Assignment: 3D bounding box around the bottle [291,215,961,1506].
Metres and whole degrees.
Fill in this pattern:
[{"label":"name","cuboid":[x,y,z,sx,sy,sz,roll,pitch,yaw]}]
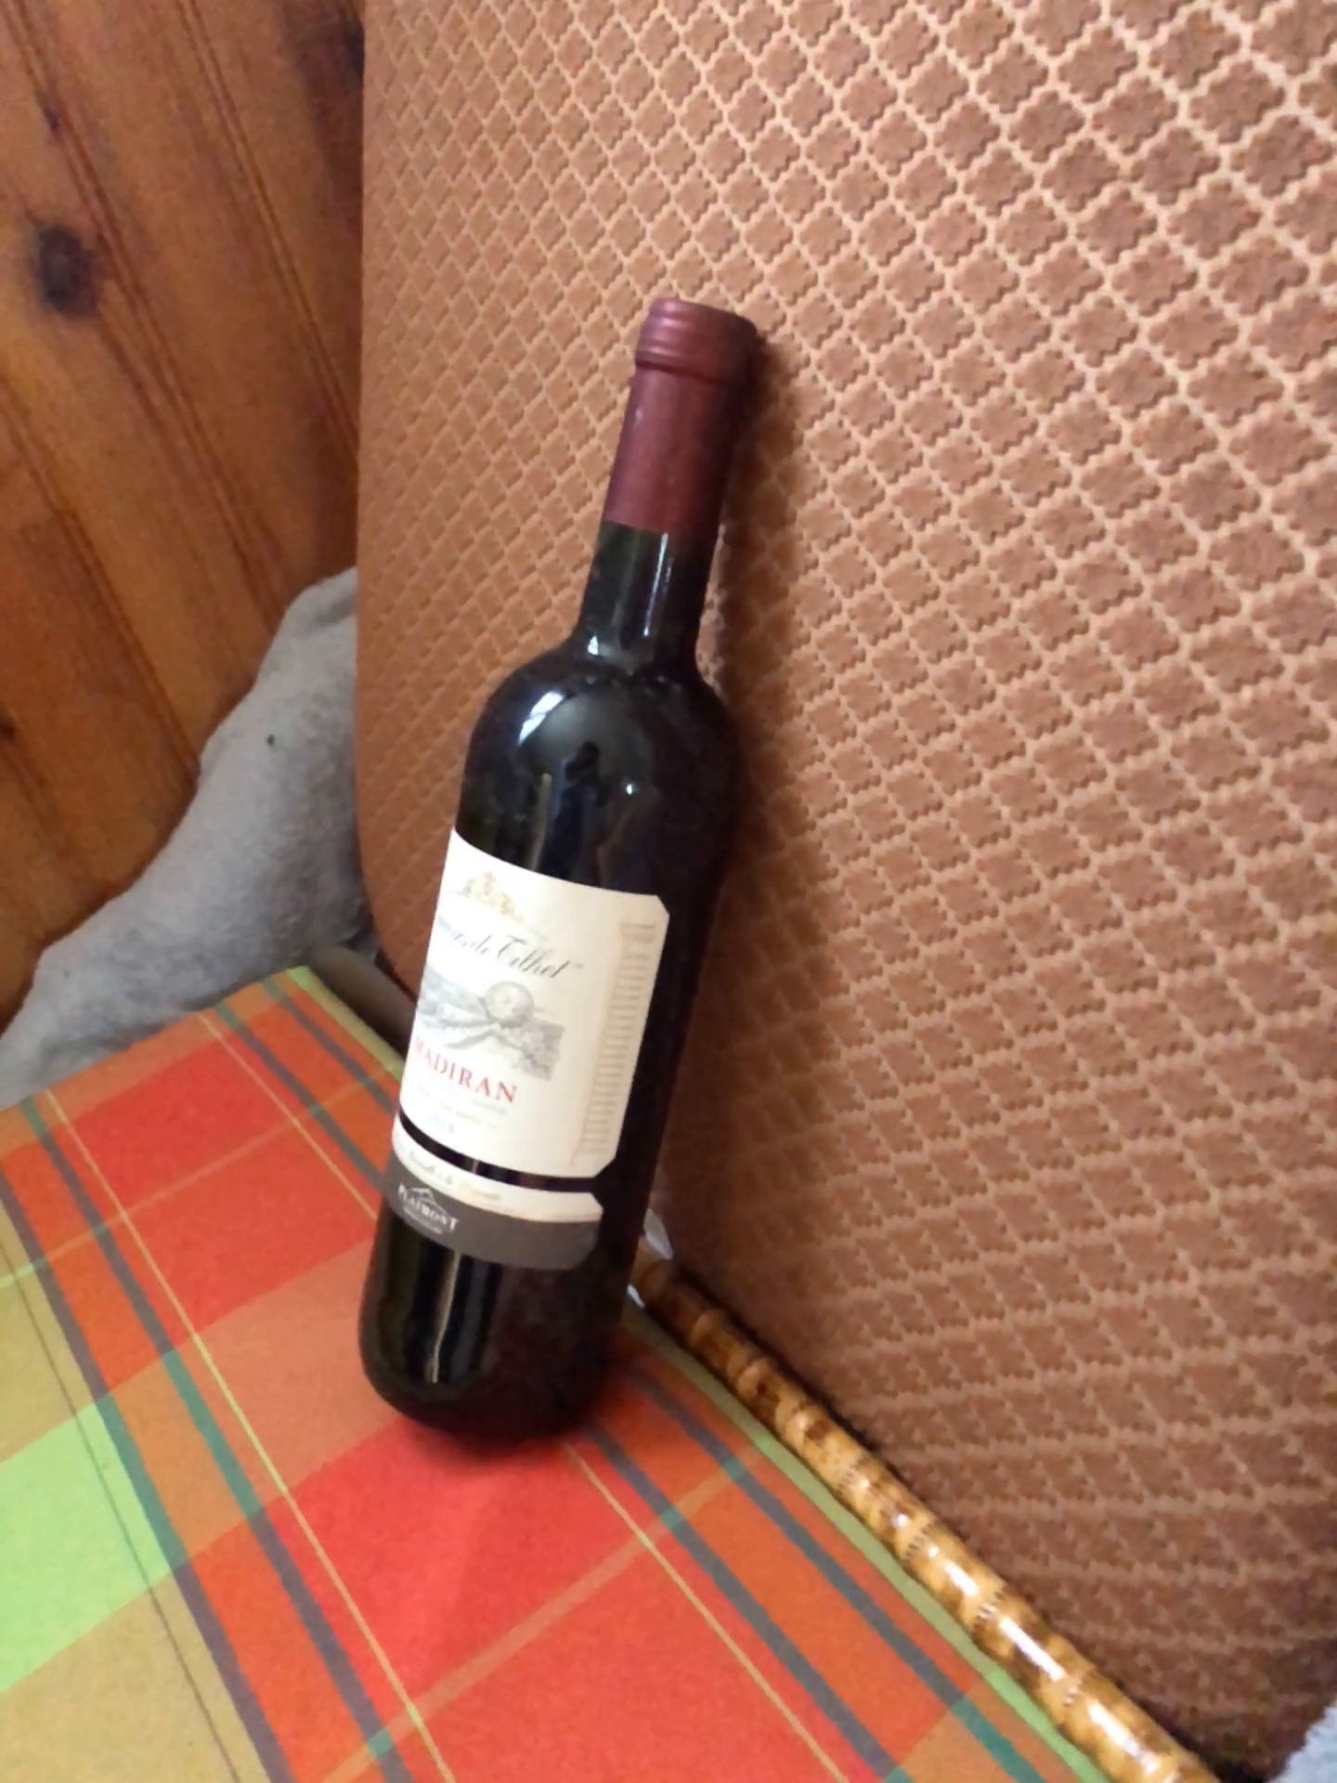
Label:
[{"label":"bottle","cuboid":[-0.018,-0.005,0.387,0.080,0.299,0.090,25,19,39]}]
